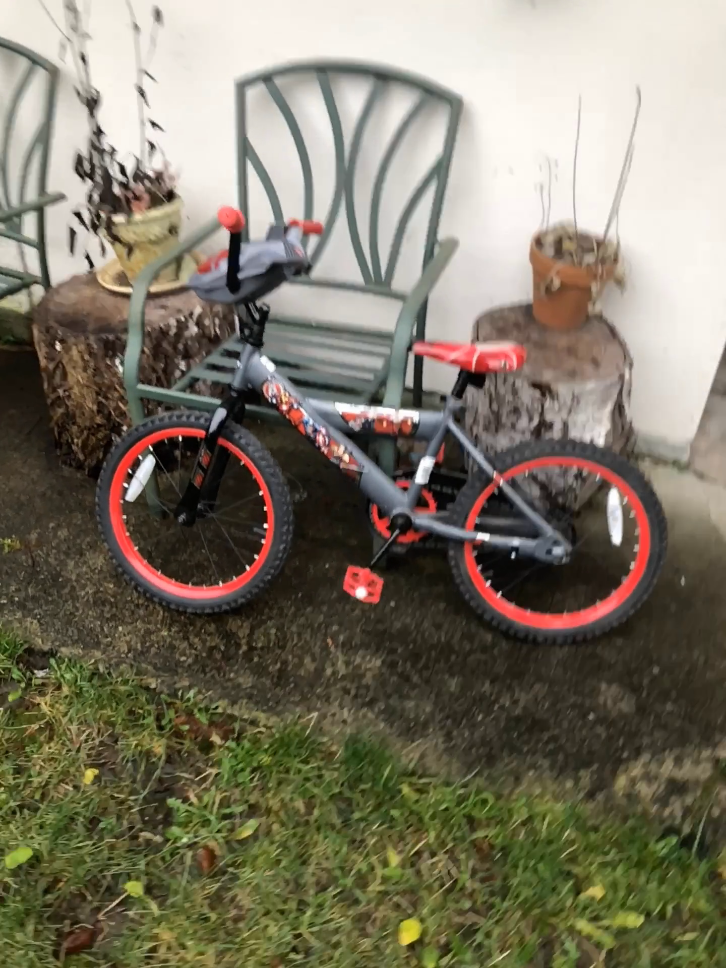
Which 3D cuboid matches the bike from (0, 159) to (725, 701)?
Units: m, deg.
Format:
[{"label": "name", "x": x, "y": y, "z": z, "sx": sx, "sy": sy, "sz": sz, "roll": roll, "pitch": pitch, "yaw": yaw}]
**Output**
[{"label": "bike", "x": 0.030, "y": -0.130, "z": 1.639, "sx": 1.199, "sy": 0.853, "sz": 0.604, "roll": 5, "pitch": 38, "yaw": 7}]
